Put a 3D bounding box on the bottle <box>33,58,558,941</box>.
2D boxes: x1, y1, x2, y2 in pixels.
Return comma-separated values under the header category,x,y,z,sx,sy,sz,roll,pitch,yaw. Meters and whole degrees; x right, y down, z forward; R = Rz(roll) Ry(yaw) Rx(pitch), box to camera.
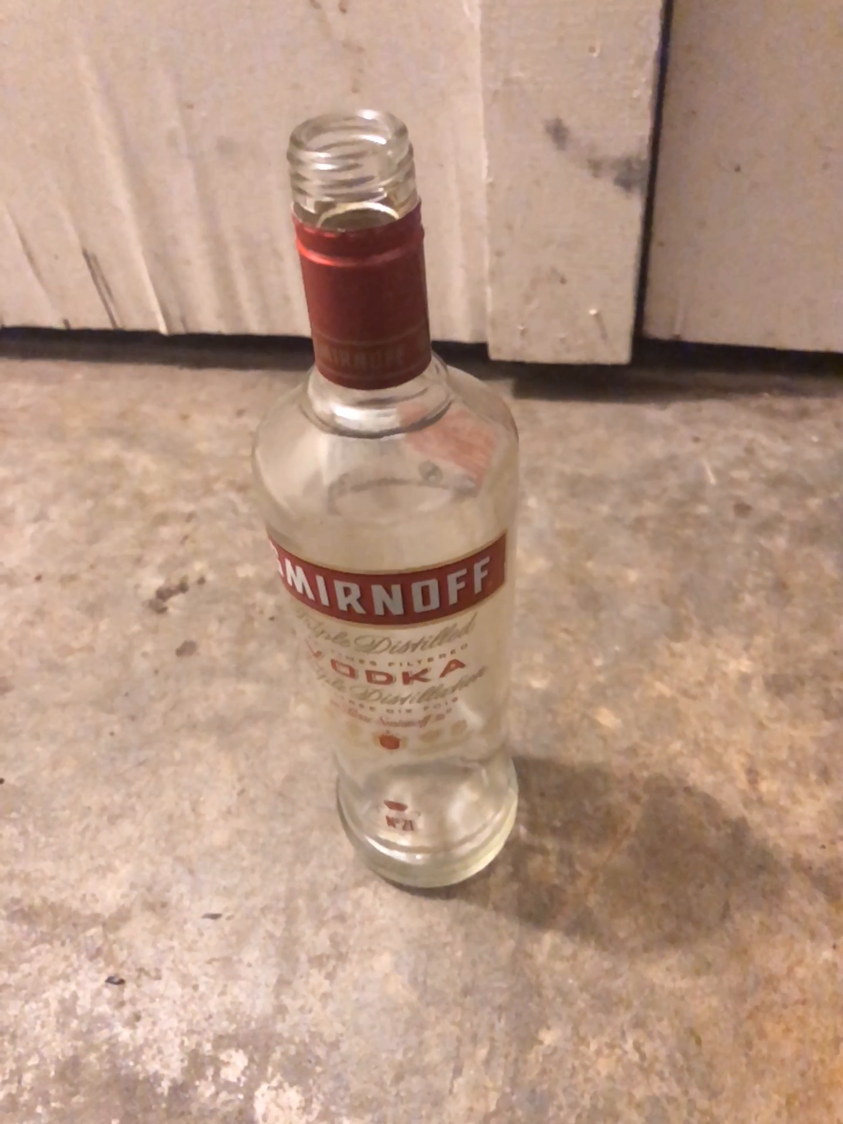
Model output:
category,x,y,z,sx,sy,sz,roll,pitch,yaw
bottle,-0.010,0.013,0.293,0.080,0.288,0.080,-3,47,3
